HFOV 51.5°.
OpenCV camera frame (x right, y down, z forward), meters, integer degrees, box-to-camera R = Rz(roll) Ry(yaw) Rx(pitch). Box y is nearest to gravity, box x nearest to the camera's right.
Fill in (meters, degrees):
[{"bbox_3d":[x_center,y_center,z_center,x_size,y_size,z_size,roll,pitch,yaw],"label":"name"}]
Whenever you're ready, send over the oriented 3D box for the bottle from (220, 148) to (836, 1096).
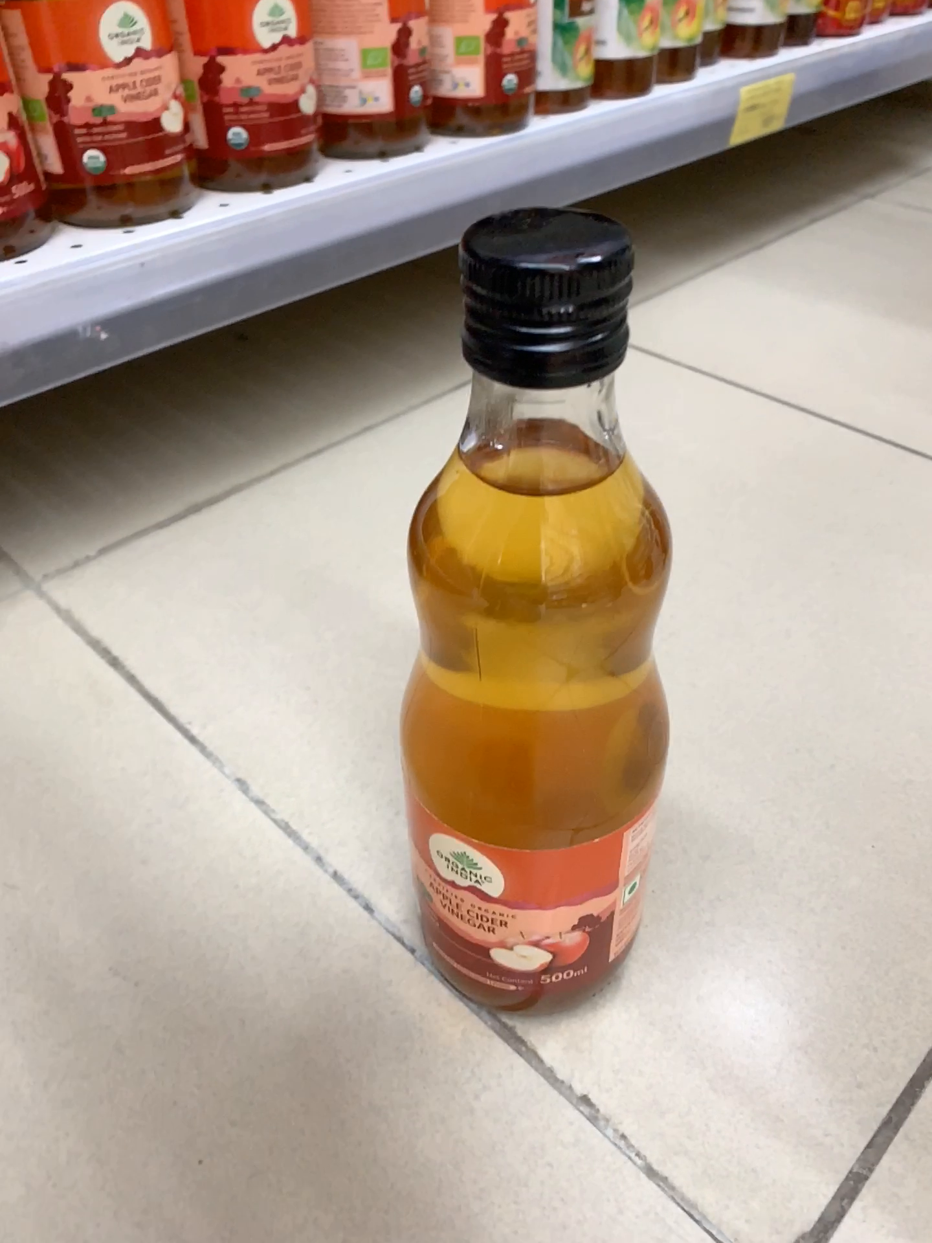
[{"bbox_3d":[0.017,0.012,0.236,0.080,0.209,0.080,-1,39,1],"label":"bottle"}]
